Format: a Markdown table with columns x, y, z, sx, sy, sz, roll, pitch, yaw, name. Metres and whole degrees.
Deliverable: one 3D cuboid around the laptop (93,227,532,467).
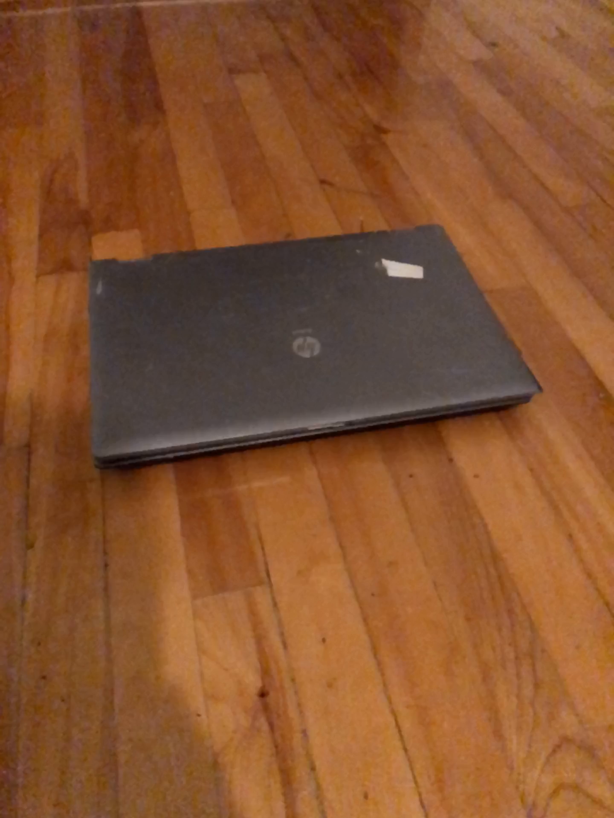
| x | y | z | sx | sy | sz | roll | pitch | yaw | name |
| --- | --- | --- | --- | --- | --- | --- | --- | --- | --- |
| -0.009 | -0.076 | 0.632 | 0.363 | 0.010 | 0.241 | -9 | 51 | -10 | laptop |
